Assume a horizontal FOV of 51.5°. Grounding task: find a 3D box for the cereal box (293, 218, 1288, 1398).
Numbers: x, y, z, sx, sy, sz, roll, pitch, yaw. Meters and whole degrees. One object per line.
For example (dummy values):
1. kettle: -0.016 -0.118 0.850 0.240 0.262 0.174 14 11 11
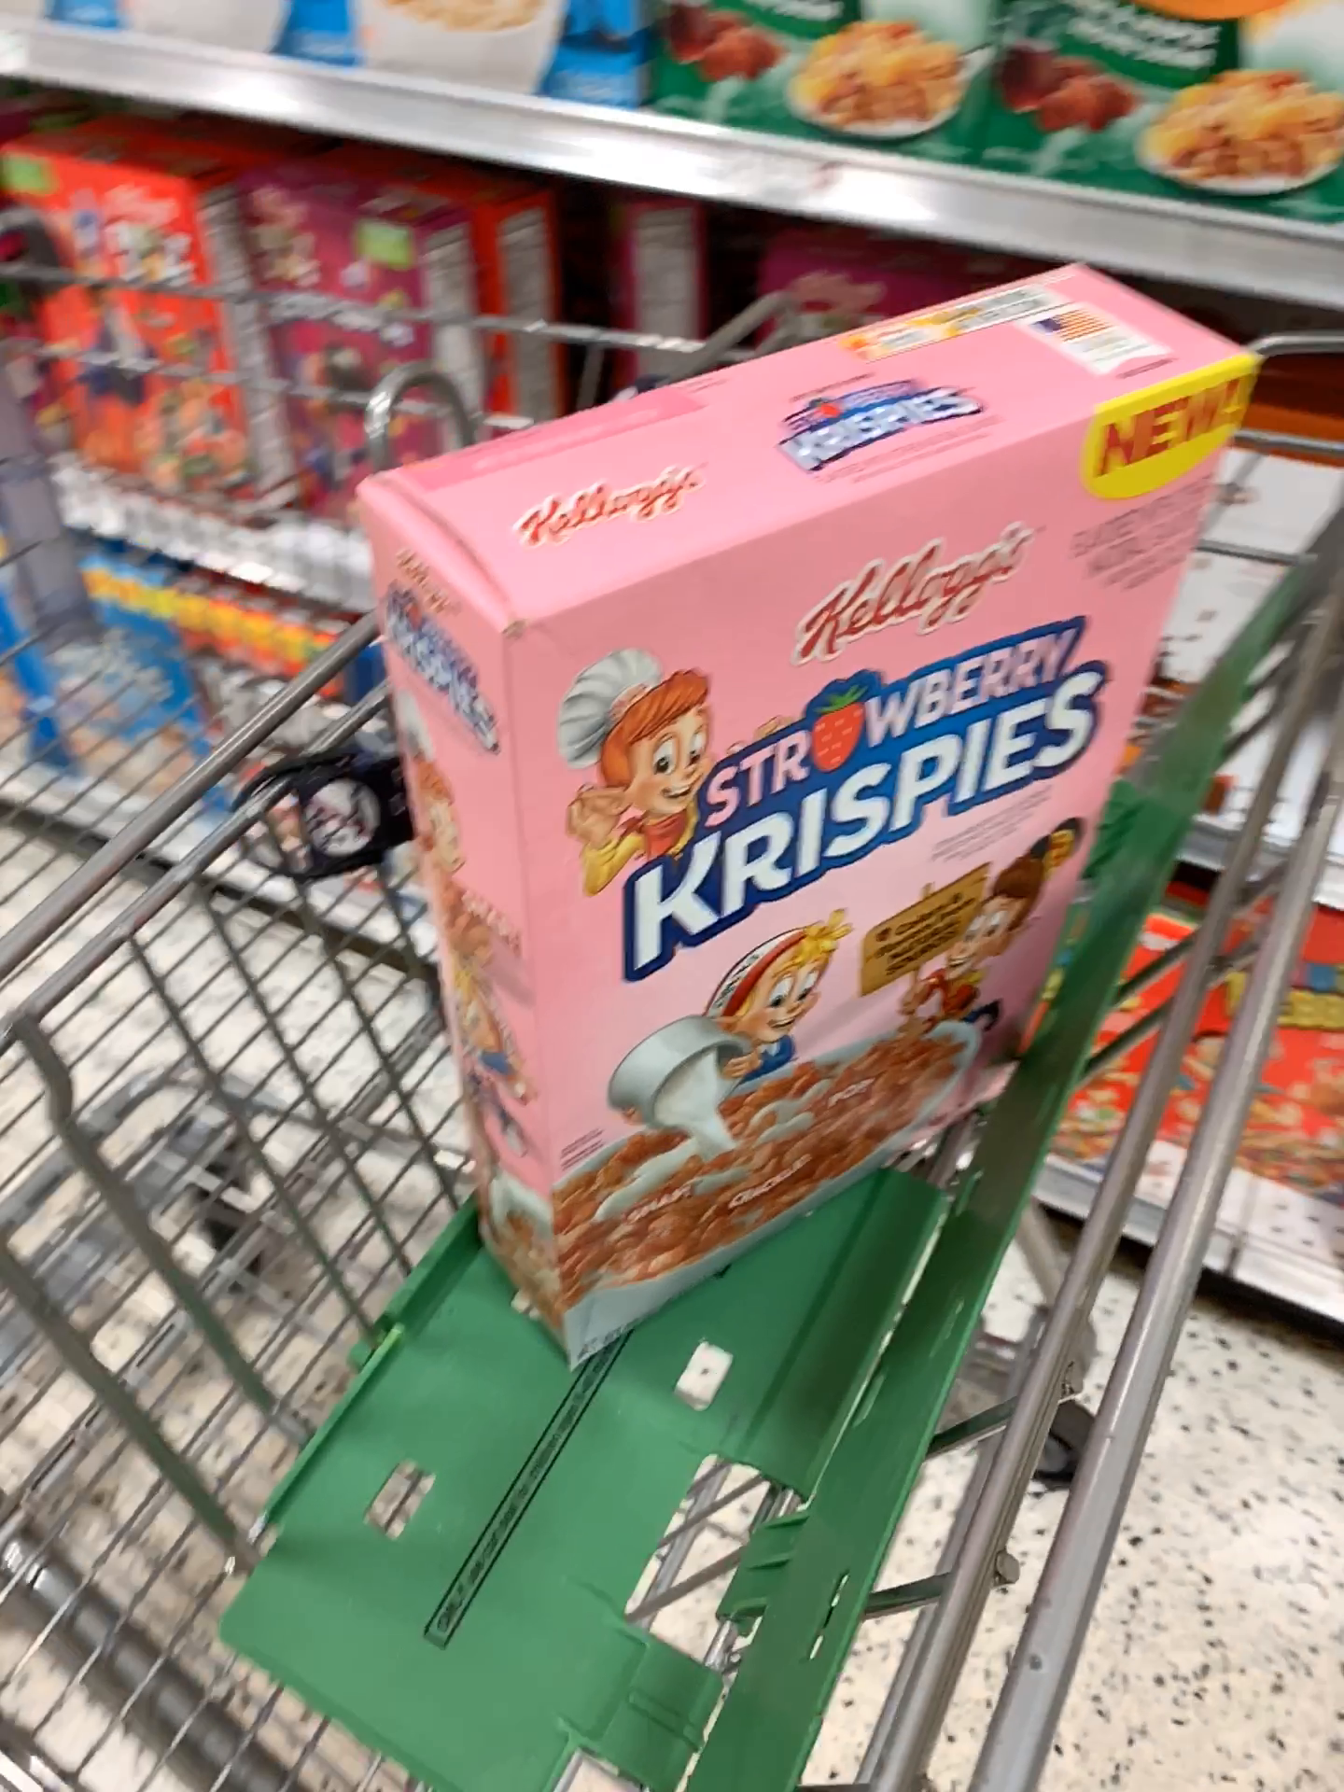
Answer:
1. cereal box: 0.027 -0.005 0.390 0.211 0.297 0.060 -26 53 -25
